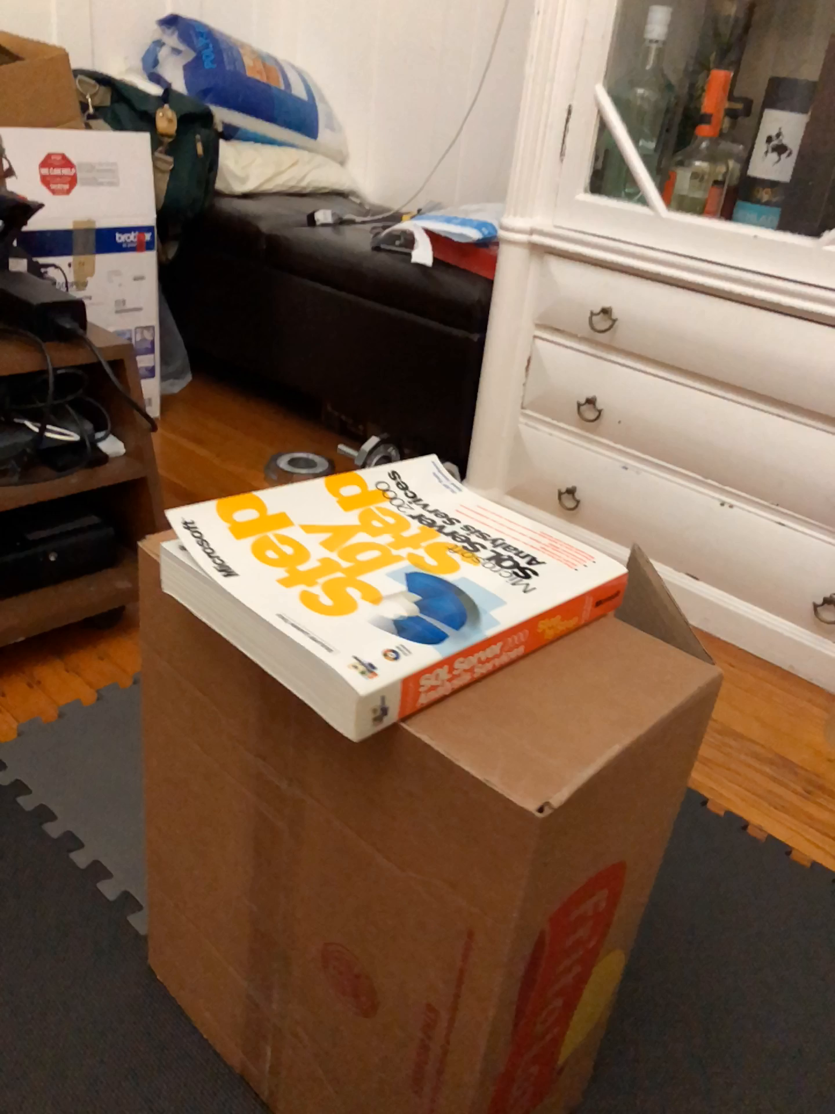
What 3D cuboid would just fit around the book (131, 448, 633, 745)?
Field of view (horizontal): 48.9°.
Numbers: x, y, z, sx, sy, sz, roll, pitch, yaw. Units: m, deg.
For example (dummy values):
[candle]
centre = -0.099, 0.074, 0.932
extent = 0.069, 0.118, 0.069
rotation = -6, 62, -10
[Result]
[book]
centre = -0.017, 0.003, 0.577
extent = 0.200, 0.050, 0.241
rotation = 25, 31, 35
